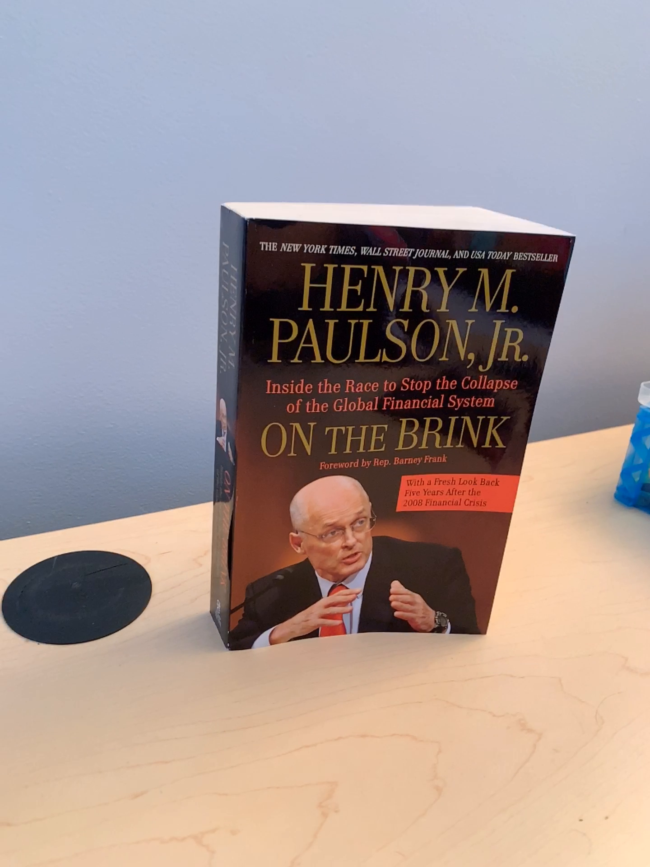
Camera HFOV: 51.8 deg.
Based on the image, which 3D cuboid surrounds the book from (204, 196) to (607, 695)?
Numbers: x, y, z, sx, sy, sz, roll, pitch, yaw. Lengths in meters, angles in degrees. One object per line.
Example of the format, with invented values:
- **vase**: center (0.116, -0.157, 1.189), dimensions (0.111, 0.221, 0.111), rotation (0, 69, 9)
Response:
- **book**: center (0.028, 0.002, 0.355), dimensions (0.167, 0.228, 0.082), rotation (-6, 26, -22)
